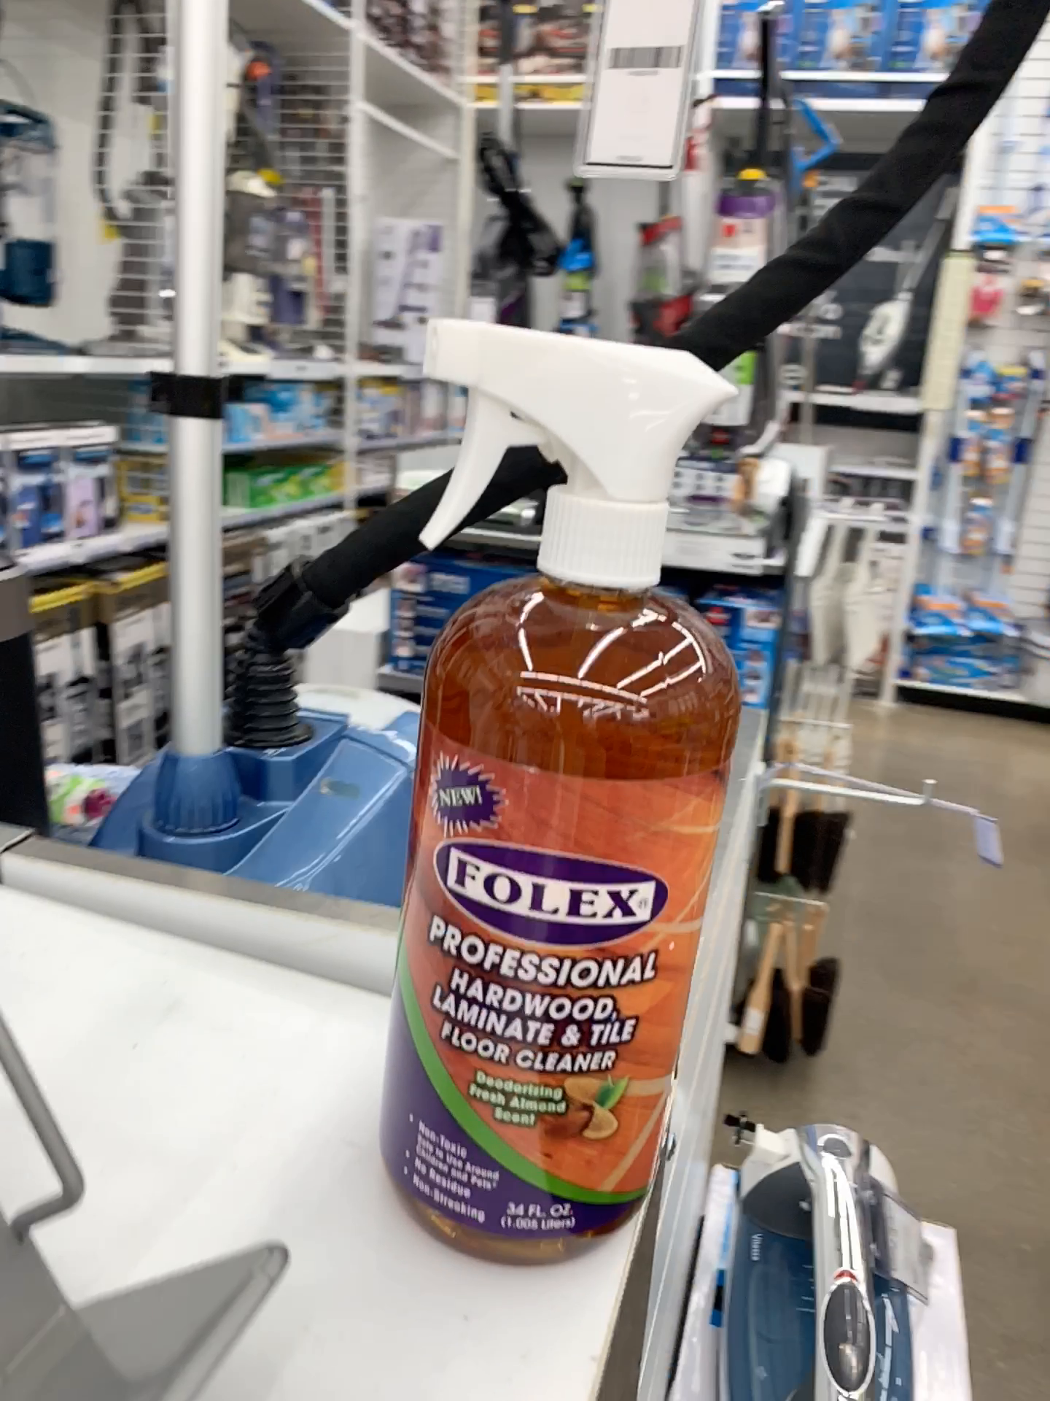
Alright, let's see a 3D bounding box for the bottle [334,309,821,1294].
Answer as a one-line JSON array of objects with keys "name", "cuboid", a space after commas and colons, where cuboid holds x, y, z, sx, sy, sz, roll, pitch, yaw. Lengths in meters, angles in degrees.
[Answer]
[{"name": "bottle", "cuboid": [0.009, 0.026, 0.309, 0.100, 0.249, 0.090, 6, 17, 6]}]
